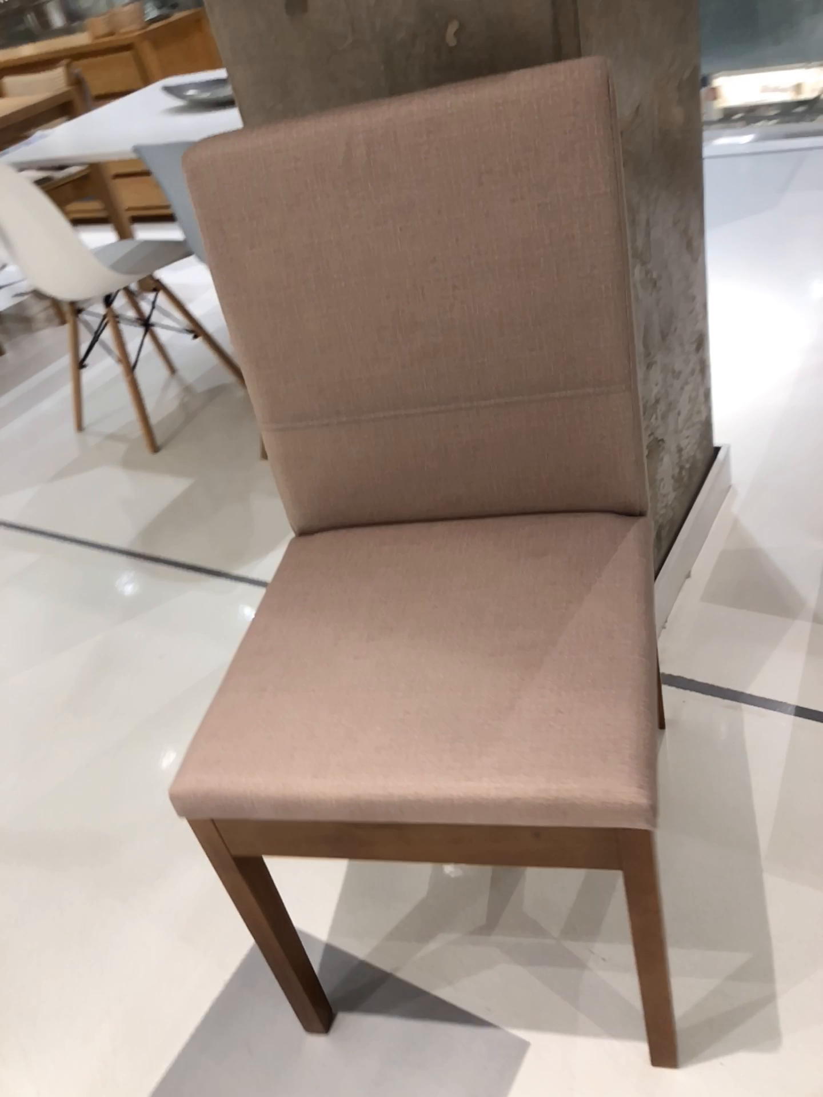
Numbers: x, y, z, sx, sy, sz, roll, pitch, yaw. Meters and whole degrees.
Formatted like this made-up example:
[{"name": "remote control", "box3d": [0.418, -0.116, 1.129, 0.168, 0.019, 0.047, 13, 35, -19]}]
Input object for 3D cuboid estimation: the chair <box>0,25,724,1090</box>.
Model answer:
[{"name": "chair", "box3d": [0.017, 0.062, 0.988, 0.560, 0.933, 0.544, -3, 38, 17]}]
